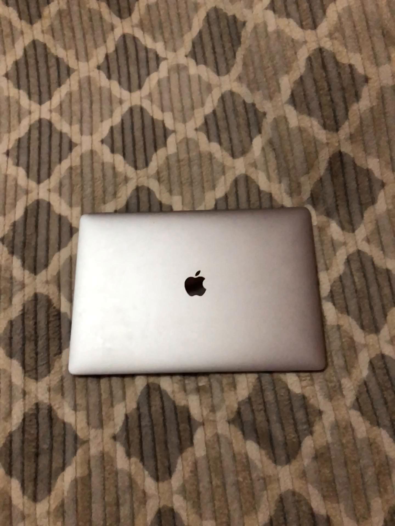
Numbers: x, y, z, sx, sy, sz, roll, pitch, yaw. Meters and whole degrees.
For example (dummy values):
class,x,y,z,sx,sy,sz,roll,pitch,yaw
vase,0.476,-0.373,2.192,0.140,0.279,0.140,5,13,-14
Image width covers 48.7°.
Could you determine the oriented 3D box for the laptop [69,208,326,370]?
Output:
class,x,y,z,sx,sy,sz,roll,pitch,yaw
laptop,-0.004,0.033,0.650,0.358,0.007,0.246,-1,71,1
